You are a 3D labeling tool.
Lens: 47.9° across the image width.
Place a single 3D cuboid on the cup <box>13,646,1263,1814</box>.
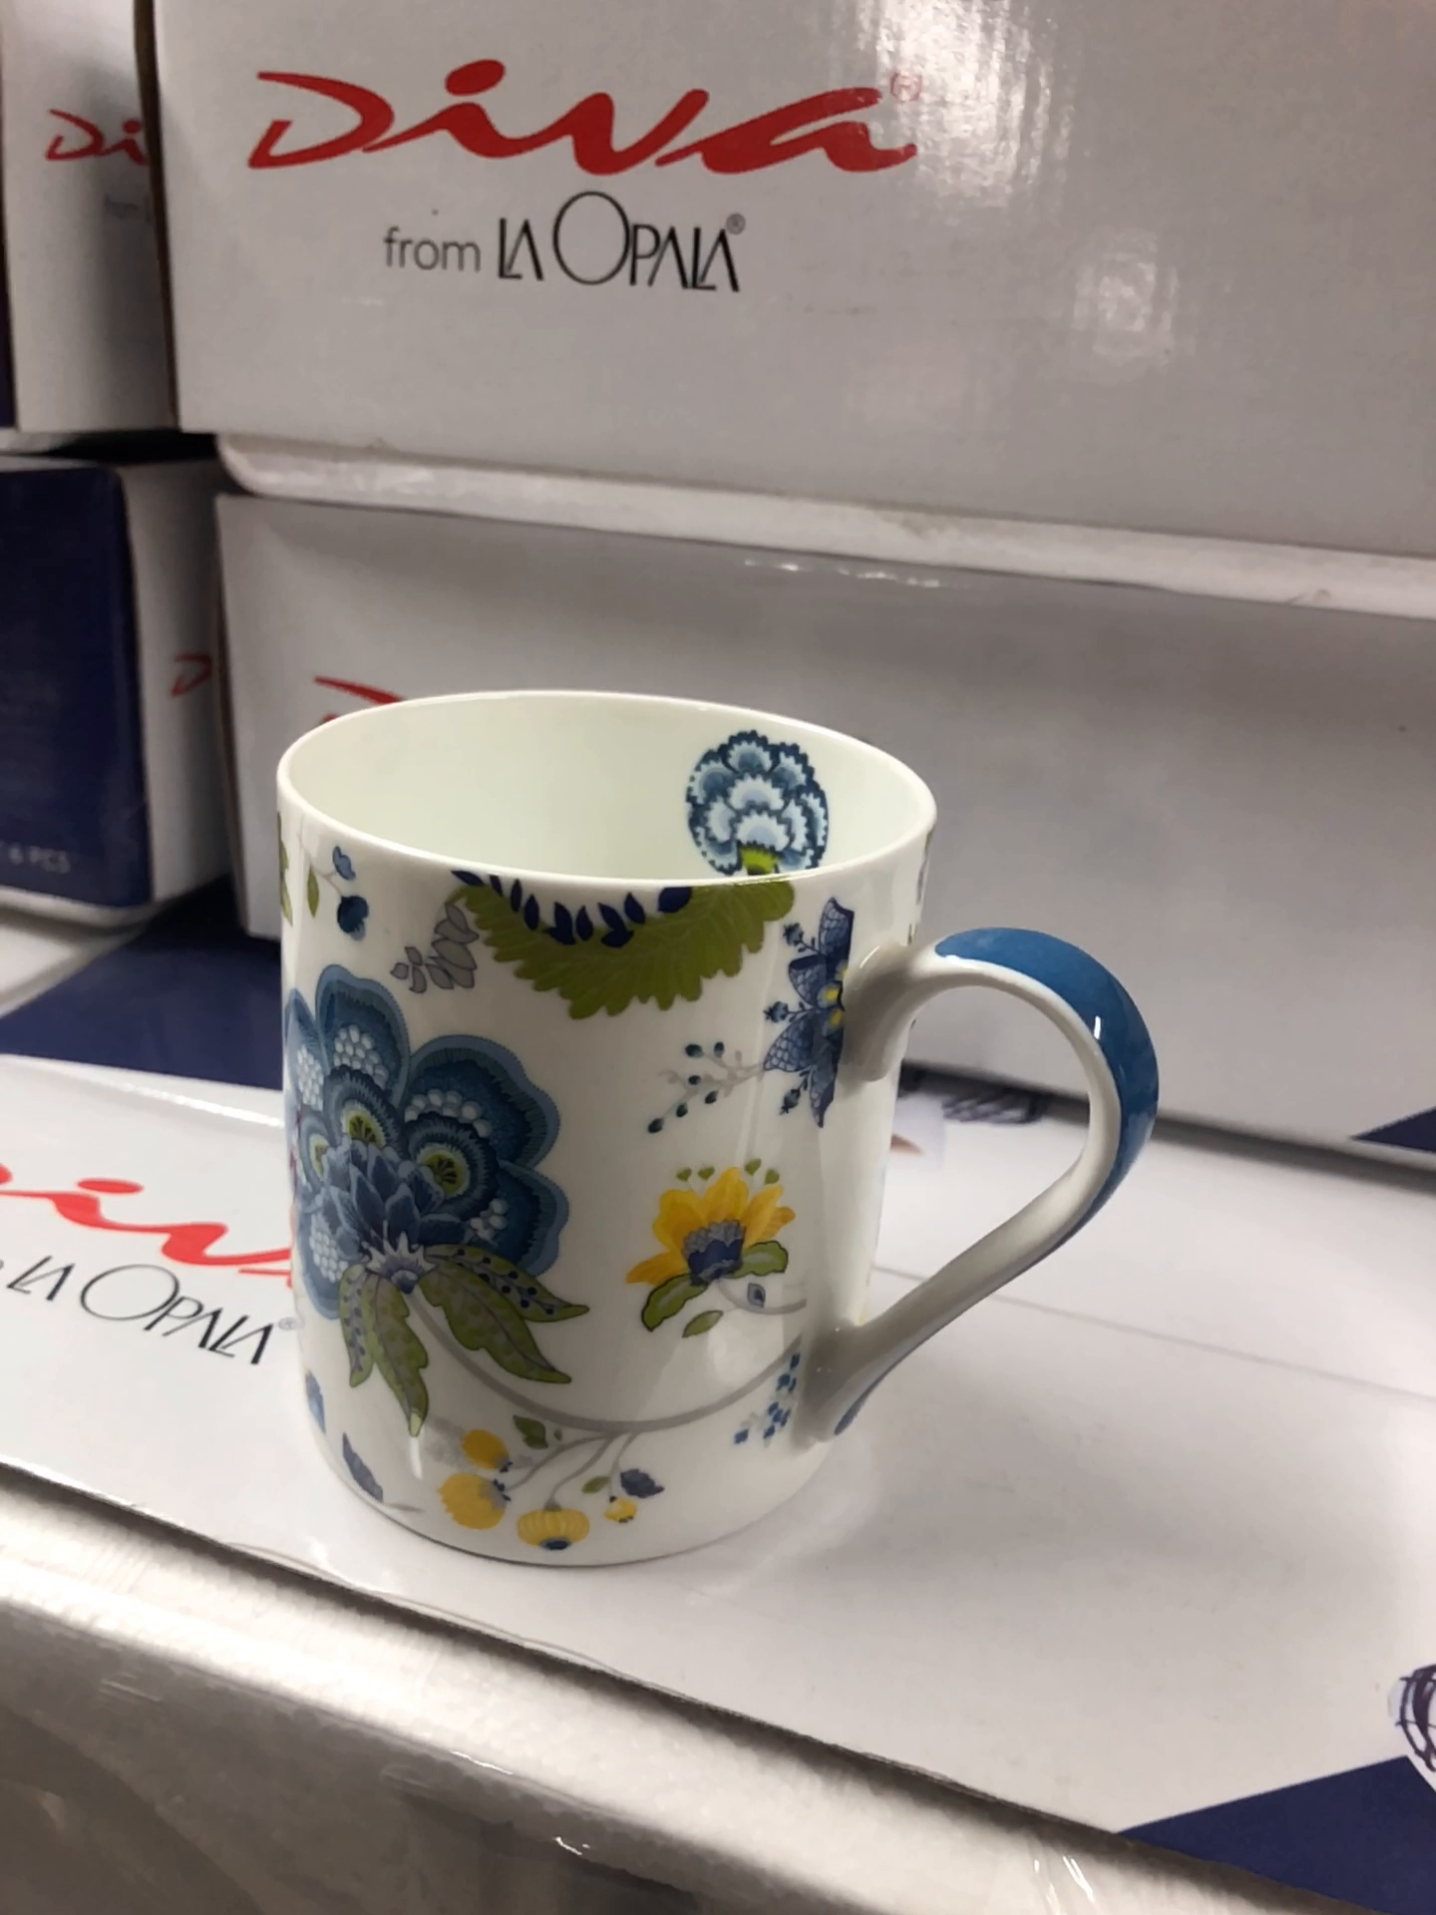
[{"bbox_3d":[-0.005,0.018,0.188,0.110,0.080,0.080,12,25,19],"label":"cup"}]
